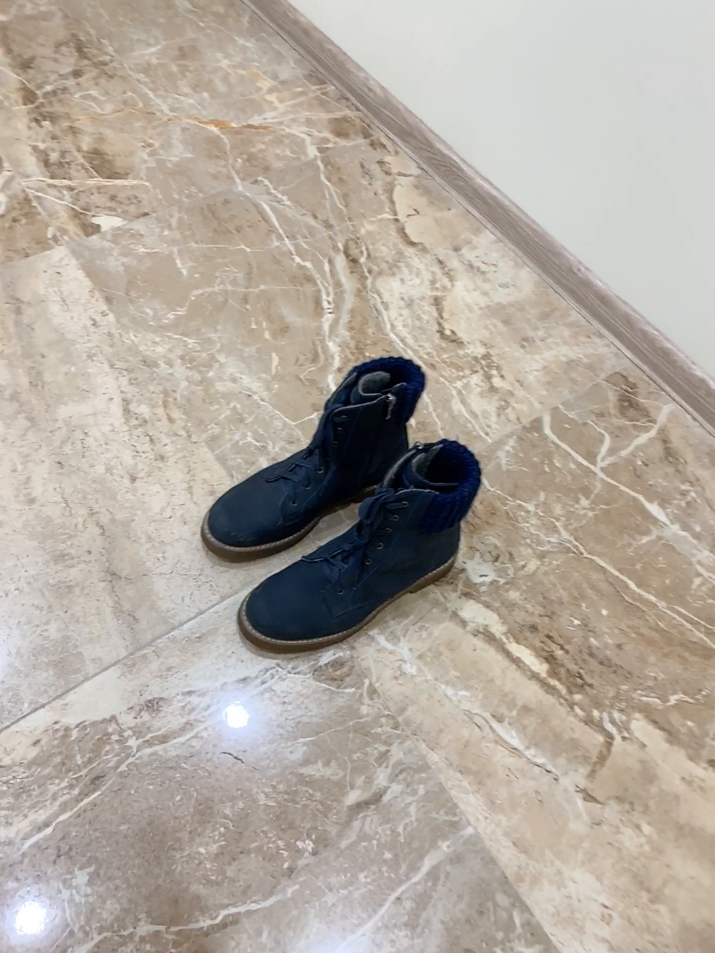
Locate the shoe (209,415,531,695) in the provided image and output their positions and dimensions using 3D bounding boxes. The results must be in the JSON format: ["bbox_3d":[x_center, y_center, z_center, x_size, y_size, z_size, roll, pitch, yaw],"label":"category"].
[{"bbox_3d":[0.005,0.080,0.709,0.260,0.199,0.101,-23,63,-19],"label":"shoe"}]

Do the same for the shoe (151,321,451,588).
[{"bbox_3d":[-0.057,-0.019,0.763,0.260,0.199,0.101,-23,63,-19],"label":"shoe"}]
